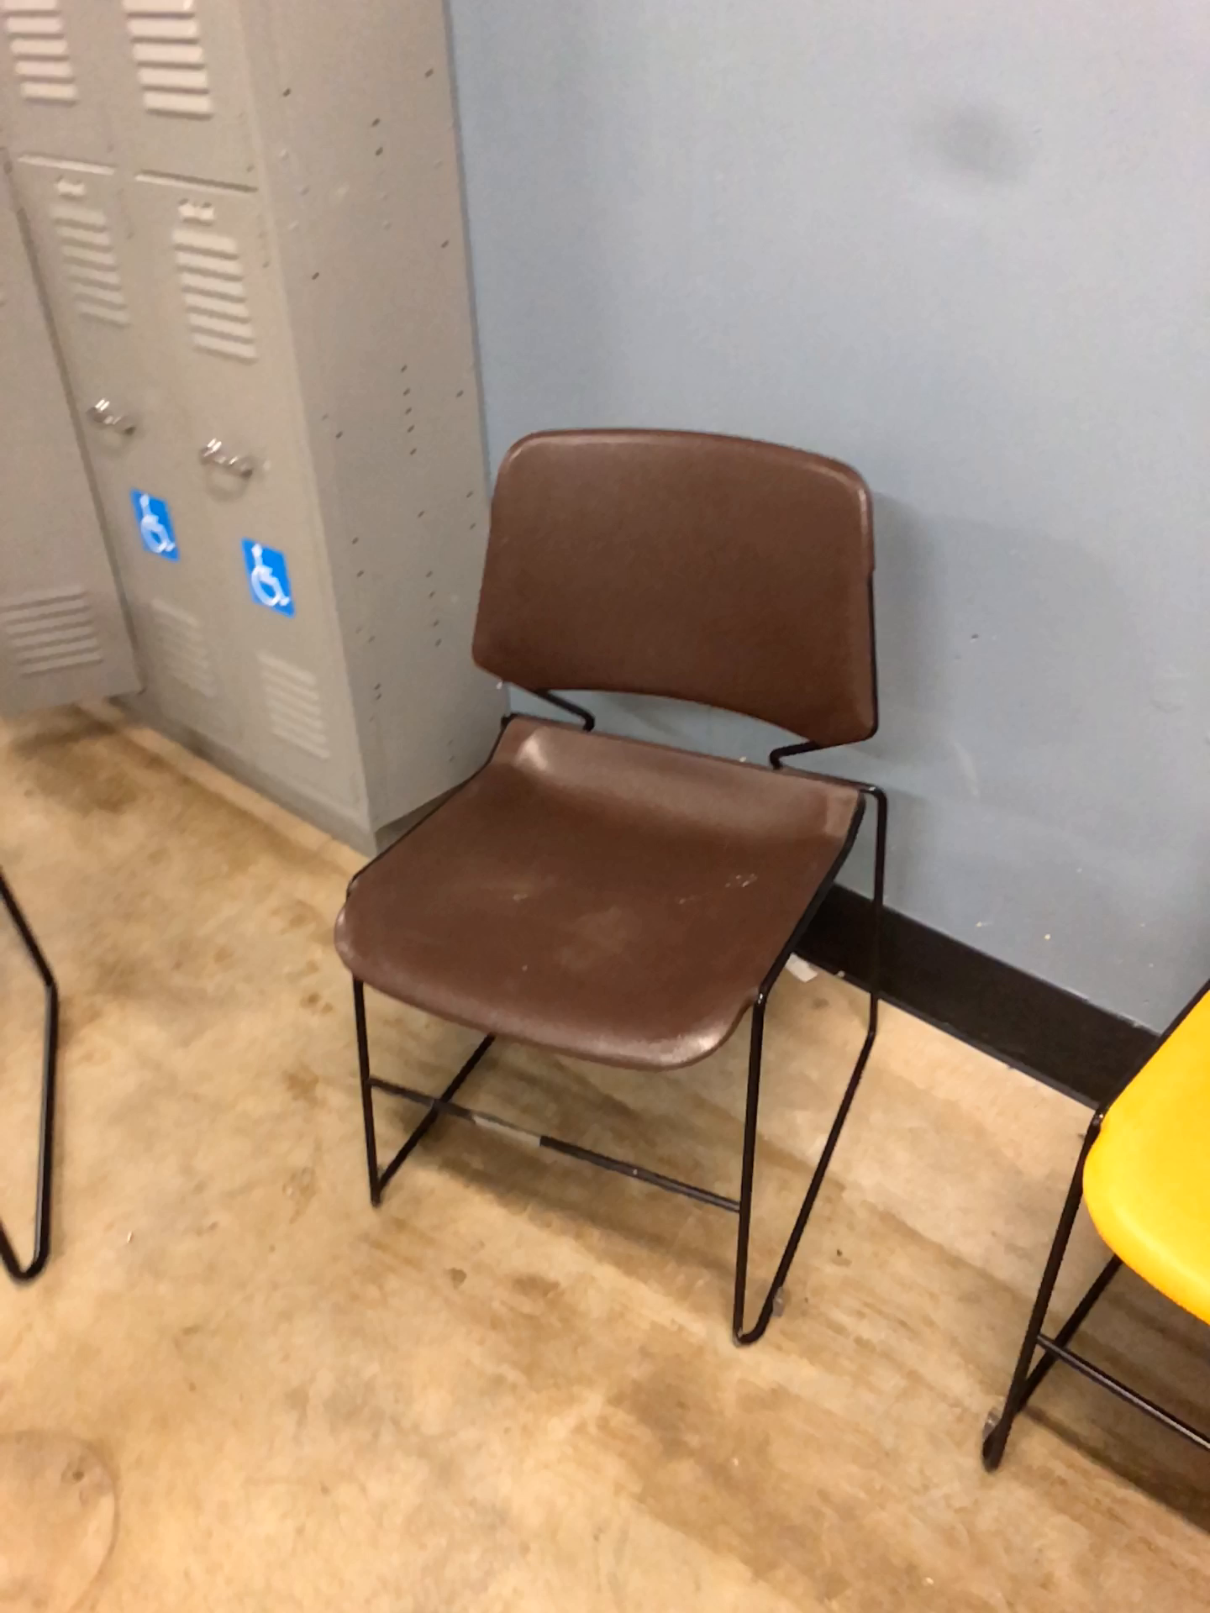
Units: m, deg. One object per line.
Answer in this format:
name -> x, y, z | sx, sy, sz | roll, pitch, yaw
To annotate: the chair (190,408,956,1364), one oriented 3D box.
chair -> 0.017, 0.052, 1.420 | 0.516, 0.751, 0.548 | 12, 36, 22
